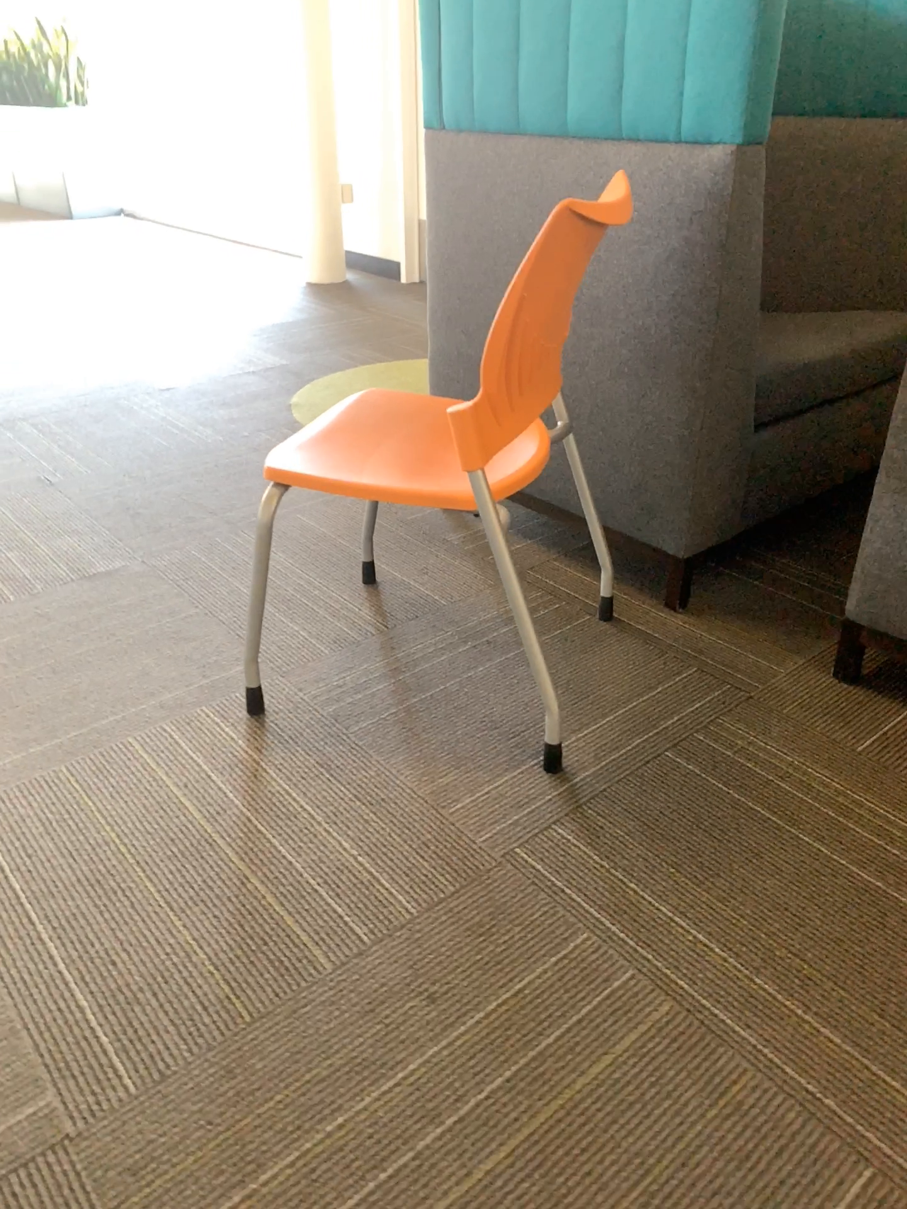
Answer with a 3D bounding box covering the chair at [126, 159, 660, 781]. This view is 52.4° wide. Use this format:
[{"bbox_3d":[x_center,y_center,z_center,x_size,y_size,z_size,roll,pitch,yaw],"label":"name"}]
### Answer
[{"bbox_3d":[-0.032,-0.277,1.555,0.611,0.805,0.643,8,30,14],"label":"chair"}]
